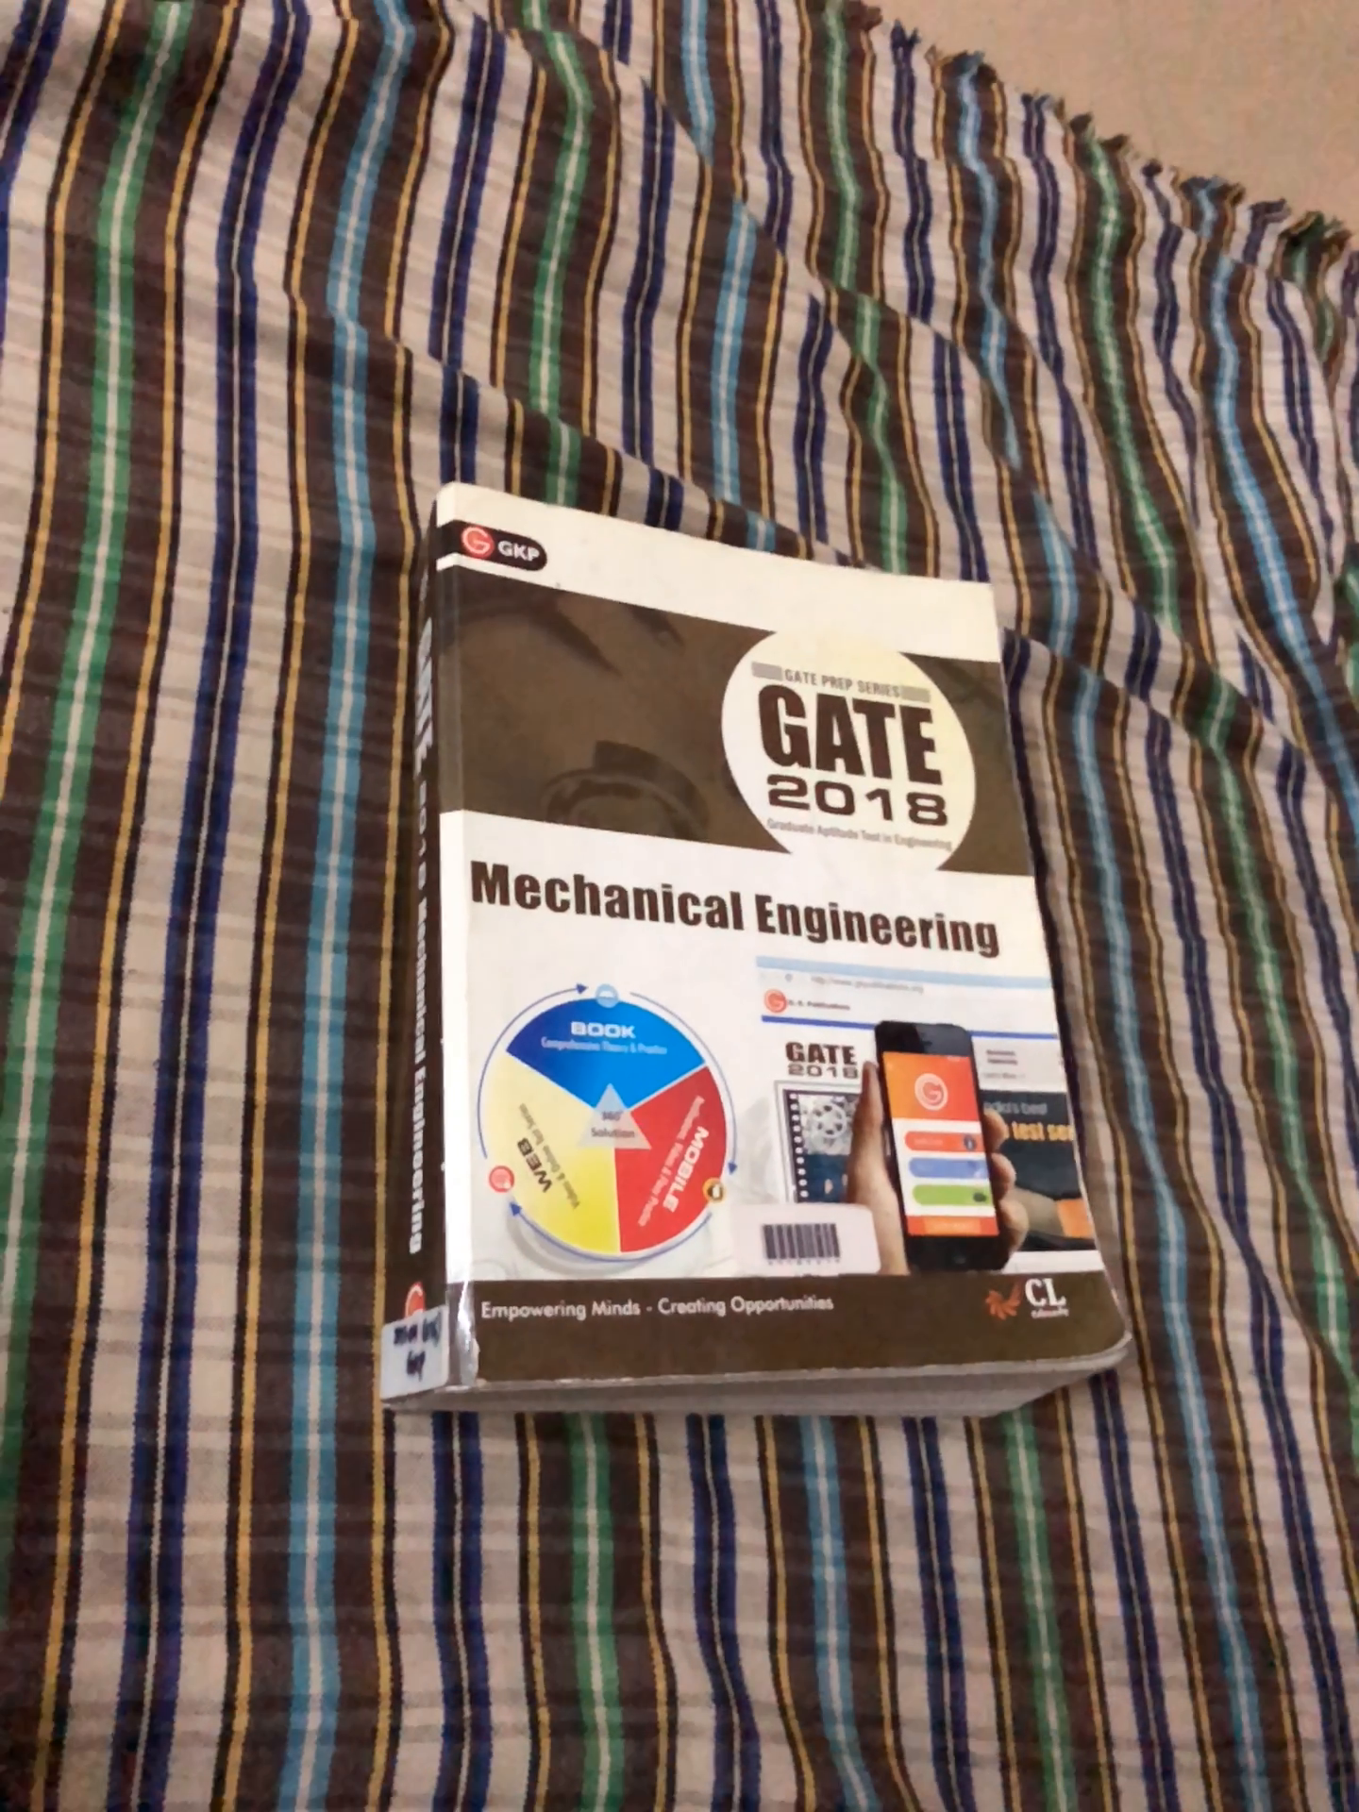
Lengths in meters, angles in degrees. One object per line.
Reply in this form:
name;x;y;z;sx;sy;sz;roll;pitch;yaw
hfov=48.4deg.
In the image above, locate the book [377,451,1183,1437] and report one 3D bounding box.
book;0.022;0.016;0.463;0.211;0.075;0.264;7;65;-25
